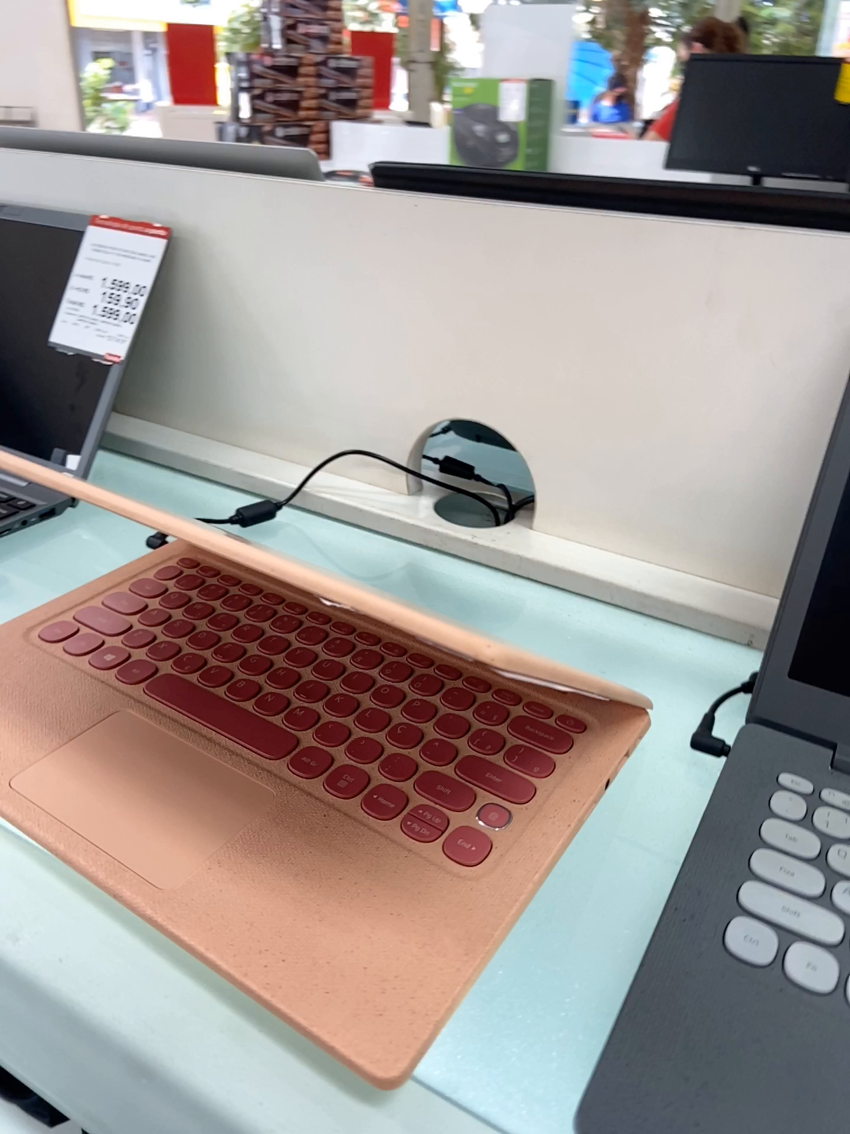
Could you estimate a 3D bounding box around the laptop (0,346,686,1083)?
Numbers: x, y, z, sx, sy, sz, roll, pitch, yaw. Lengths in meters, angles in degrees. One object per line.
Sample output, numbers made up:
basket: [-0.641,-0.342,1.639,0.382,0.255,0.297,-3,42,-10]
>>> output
laptop: [-0.086,0.013,0.392,0.323,0.129,0.211,19,33,29]
